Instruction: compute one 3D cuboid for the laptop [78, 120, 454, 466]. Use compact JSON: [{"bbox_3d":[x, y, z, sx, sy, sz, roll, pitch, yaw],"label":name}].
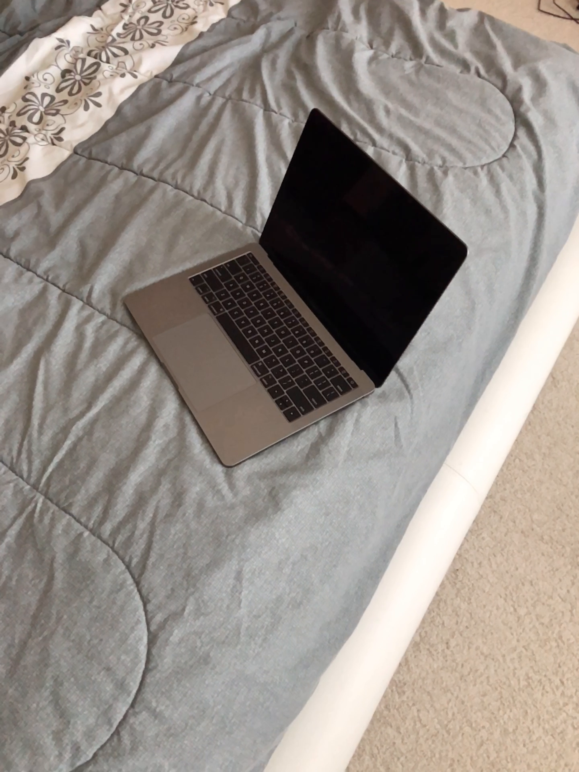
[{"bbox_3d":[-0.026,-0.116,0.722,0.281,0.159,0.280,-28,60,-15],"label":"laptop"}]
